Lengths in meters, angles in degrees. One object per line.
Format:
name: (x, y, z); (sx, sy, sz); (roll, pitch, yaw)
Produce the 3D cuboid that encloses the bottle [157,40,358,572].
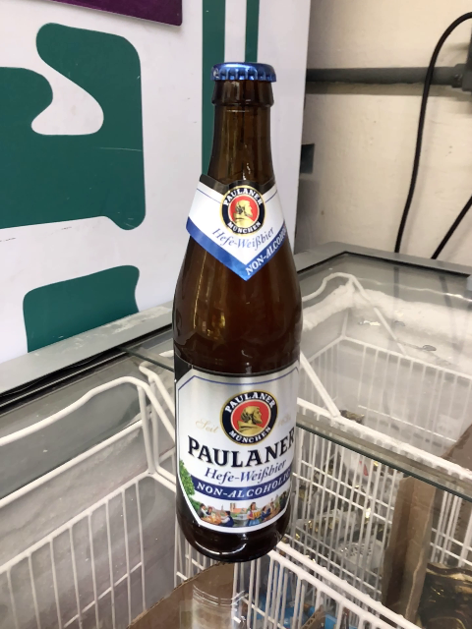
bottle: (0.002, 0.005, 0.253); (0.070, 0.238, 0.060); (-2, 21, -10)
